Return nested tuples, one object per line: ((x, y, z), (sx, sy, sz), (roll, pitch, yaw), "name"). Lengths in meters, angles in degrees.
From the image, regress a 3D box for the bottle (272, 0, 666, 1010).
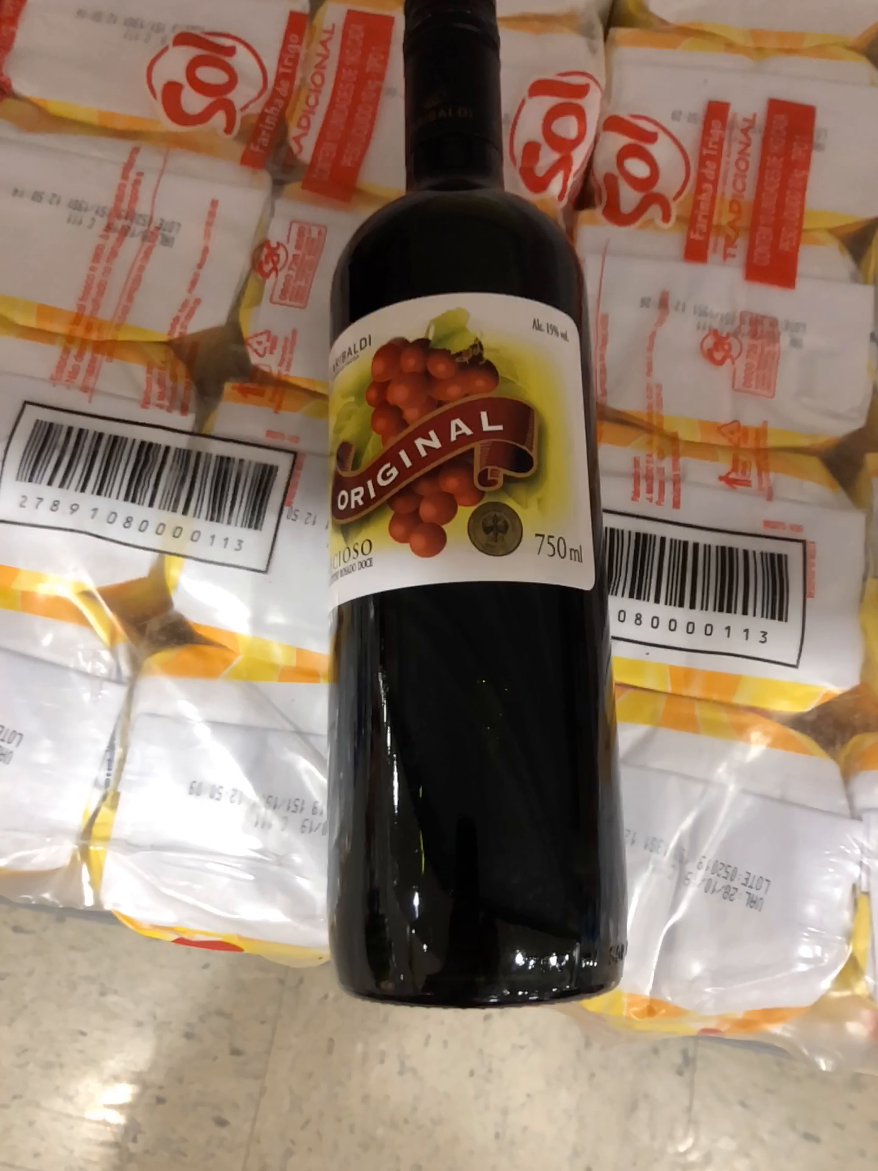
((0.008, -0.054, 0.289), (0.080, 0.070, 0.321), (-7, 73, 20), "bottle")
